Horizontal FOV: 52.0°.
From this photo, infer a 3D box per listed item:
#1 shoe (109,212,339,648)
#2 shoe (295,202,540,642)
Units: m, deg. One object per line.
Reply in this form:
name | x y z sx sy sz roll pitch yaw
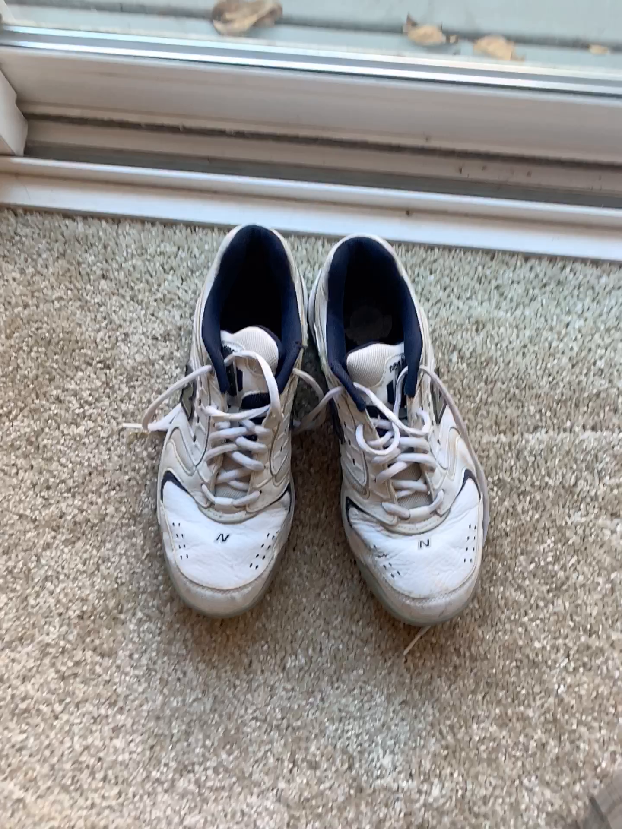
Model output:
shoe | -0.051 0.010 0.454 0.110 0.100 0.270 6 79 2
shoe | 0.066 0.006 0.473 0.110 0.110 0.280 -9 79 -1
